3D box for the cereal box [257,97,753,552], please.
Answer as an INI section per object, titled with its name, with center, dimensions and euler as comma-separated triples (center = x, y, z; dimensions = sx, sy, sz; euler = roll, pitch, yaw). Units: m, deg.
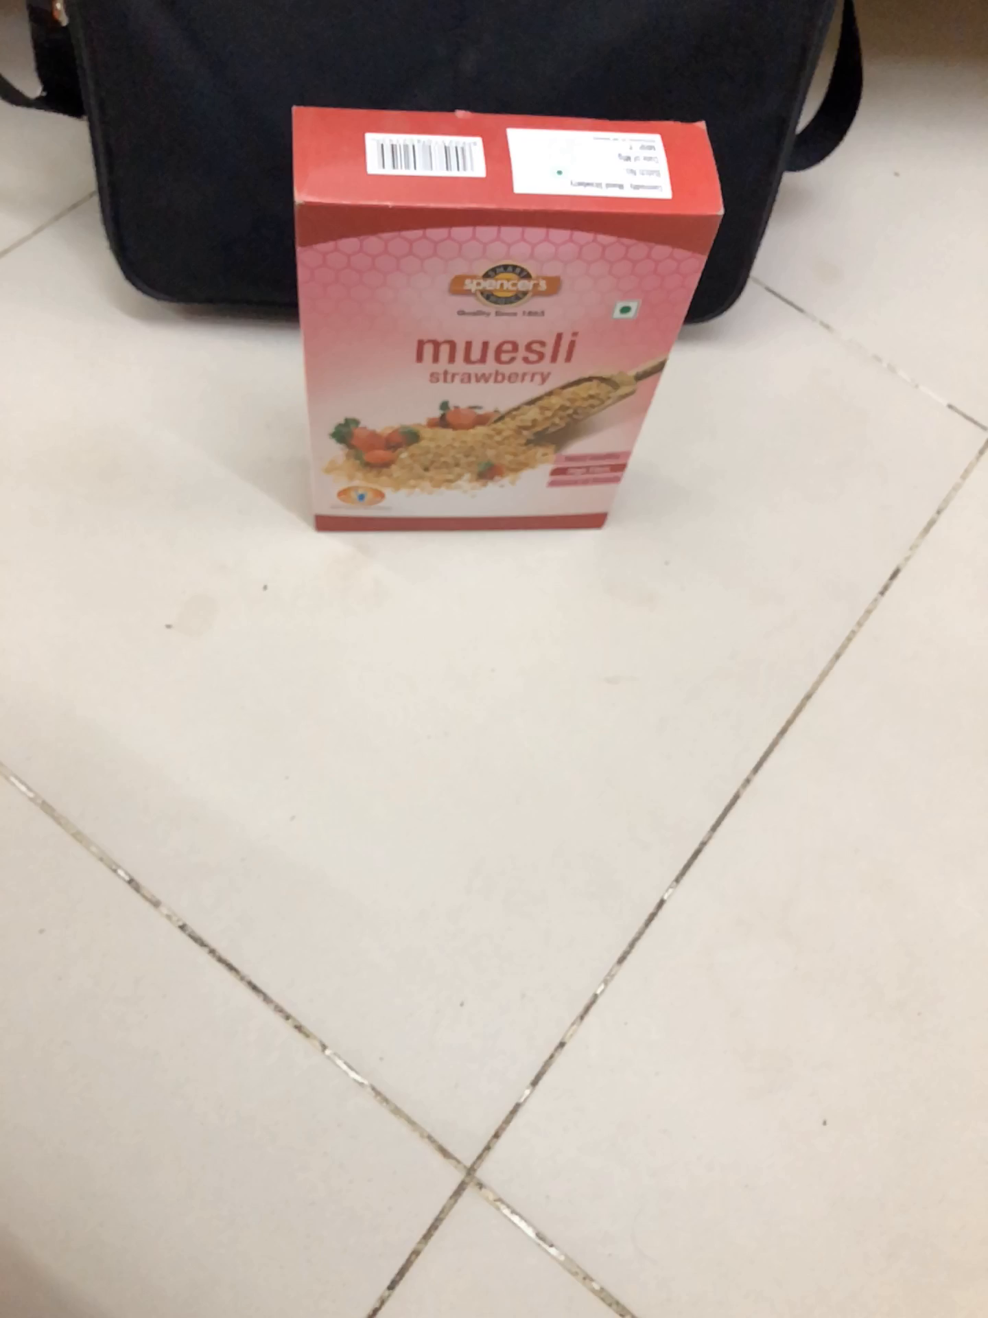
[cereal box]
center = -0.010, -0.150, 0.566
dimensions = 0.200, 0.259, 0.060
euler = -2, 64, -8
